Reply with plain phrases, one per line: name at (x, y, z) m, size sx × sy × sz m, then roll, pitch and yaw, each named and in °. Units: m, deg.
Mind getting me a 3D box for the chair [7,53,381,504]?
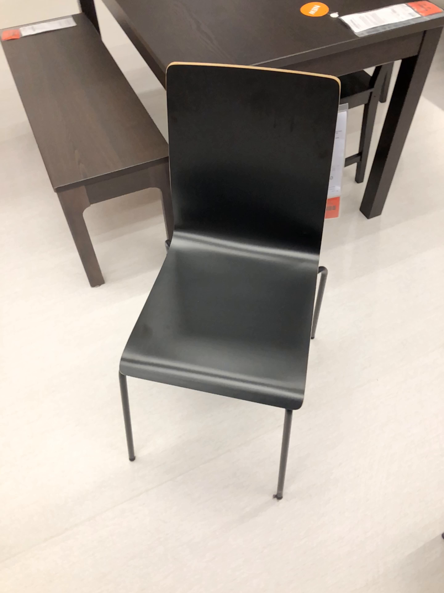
chair at (0.010, 0.018, 1.079) m, size 0.450 × 0.806 × 0.533 m, roll 11°, pitch 53°, yaw 10°
